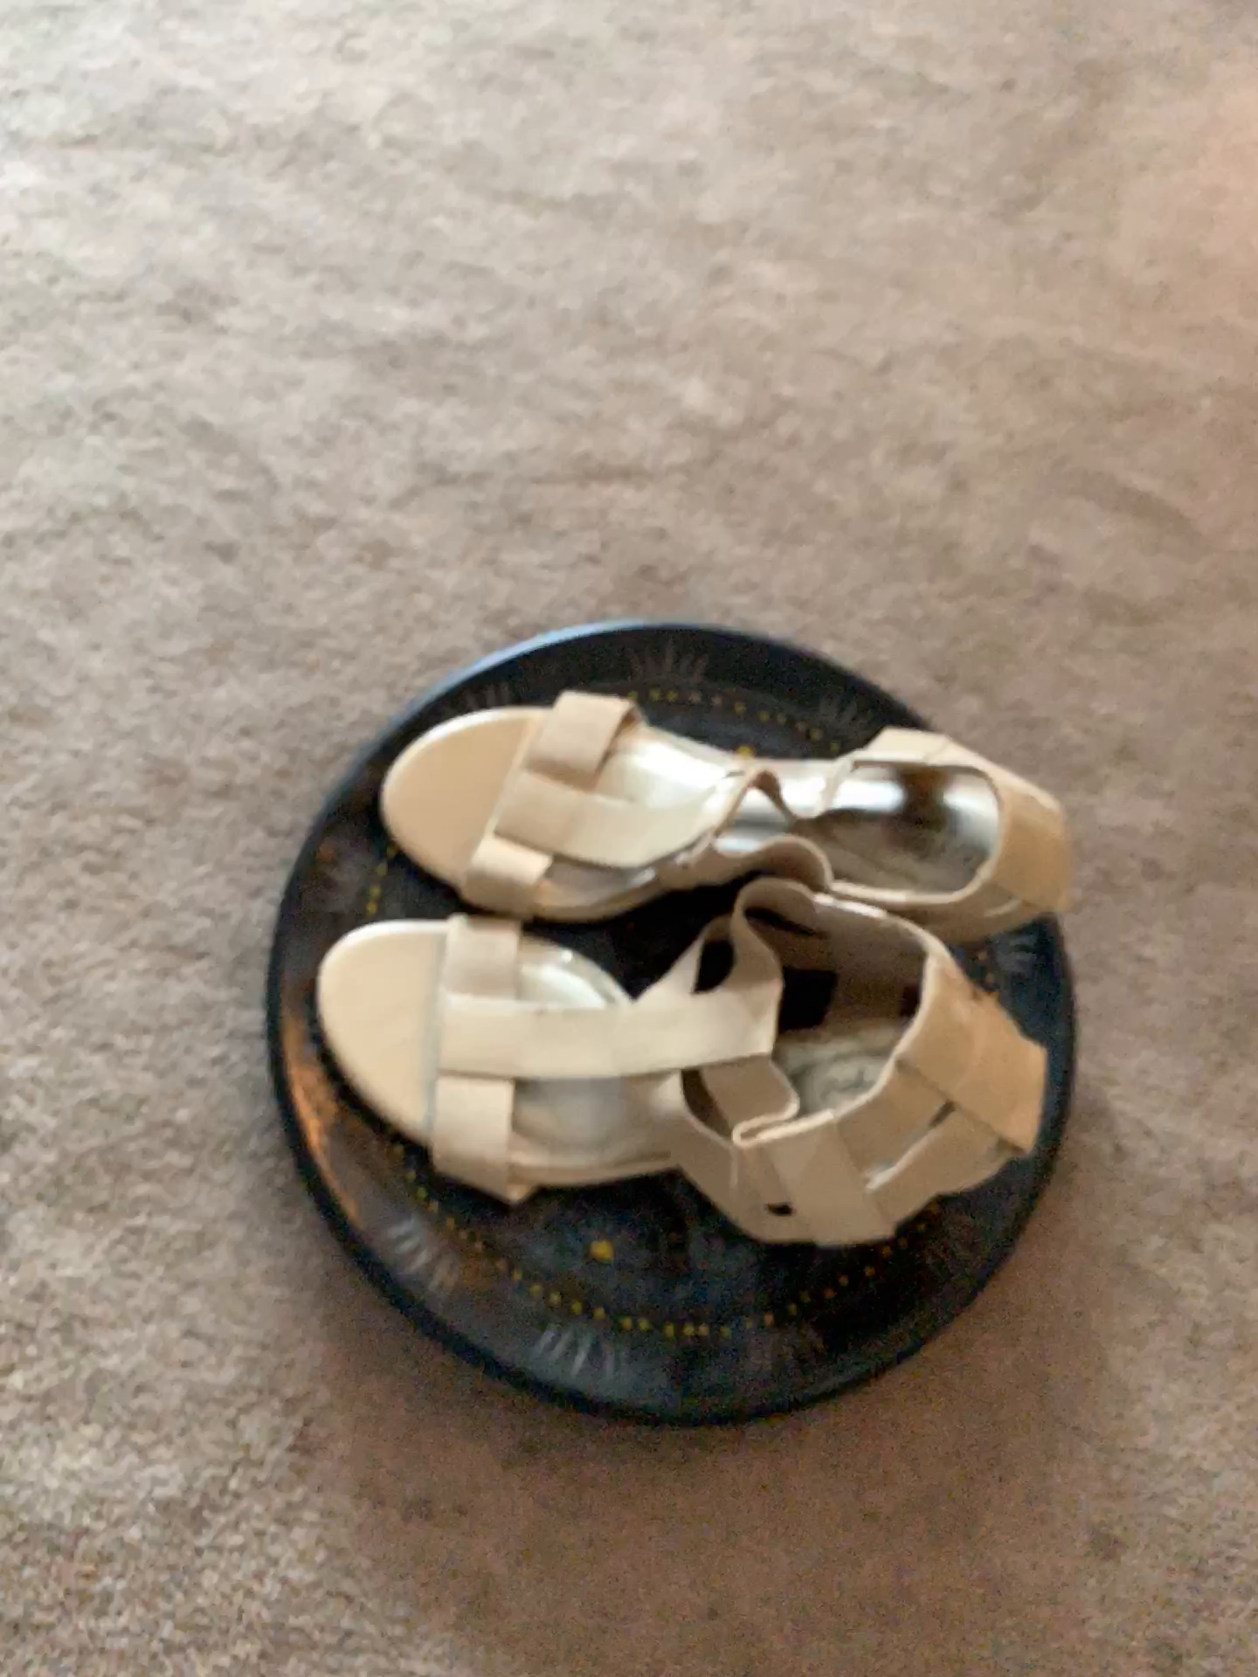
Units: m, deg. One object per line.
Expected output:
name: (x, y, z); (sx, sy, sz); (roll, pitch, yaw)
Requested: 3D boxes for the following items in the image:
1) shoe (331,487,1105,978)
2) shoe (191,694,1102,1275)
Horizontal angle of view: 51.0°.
shoe: (0.025, -0.027, 0.429); (0.220, 0.100, 0.090); (9, 68, -6)
shoe: (0.007, 0.050, 0.380); (0.220, 0.100, 0.100); (13, 67, -4)
